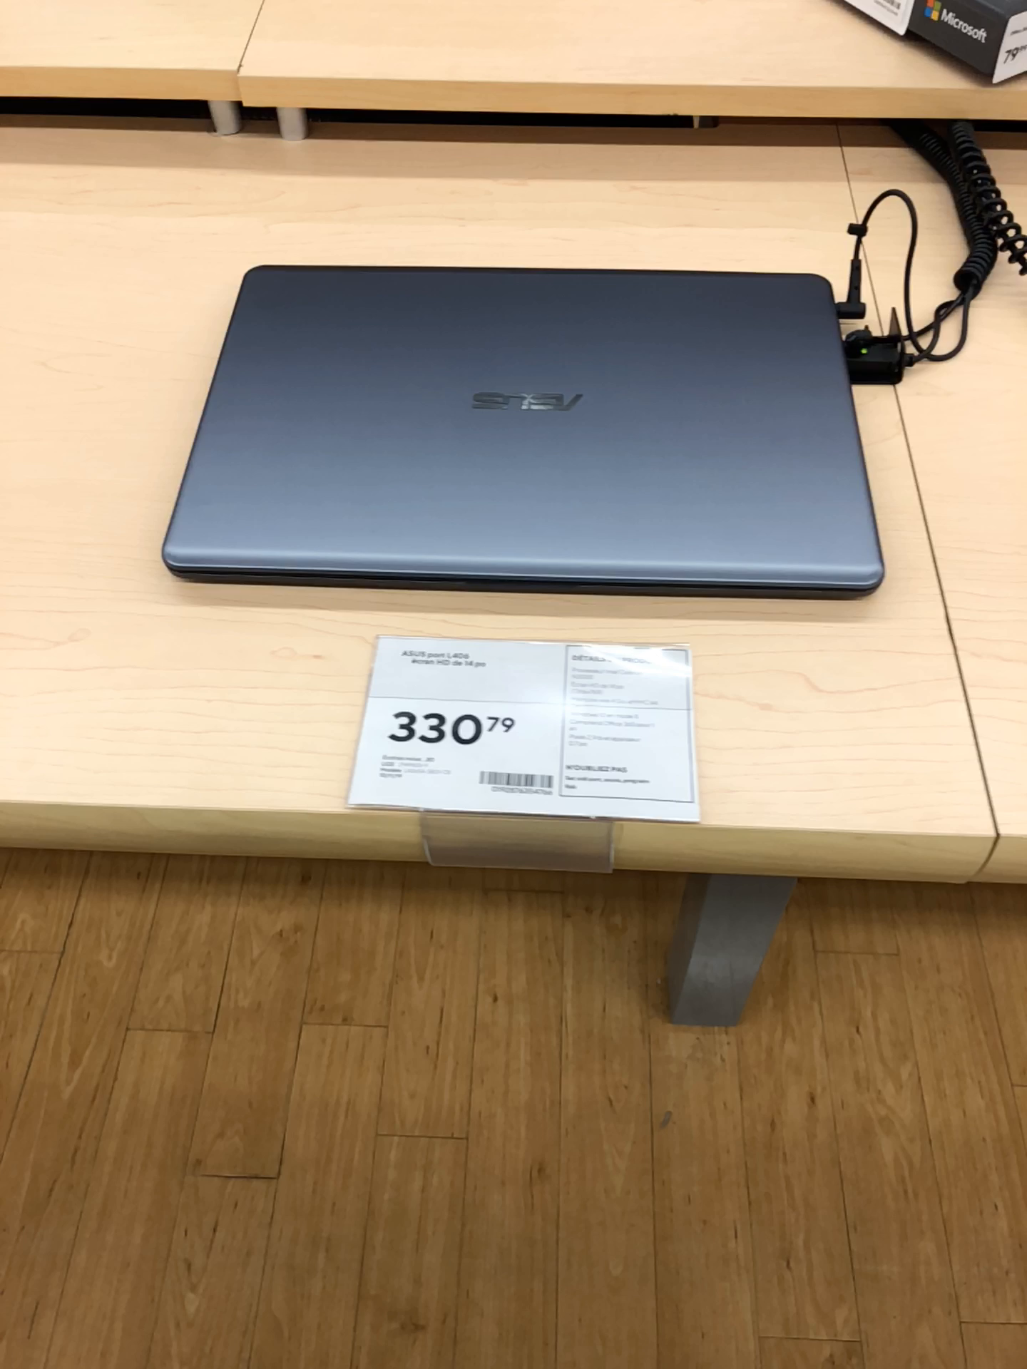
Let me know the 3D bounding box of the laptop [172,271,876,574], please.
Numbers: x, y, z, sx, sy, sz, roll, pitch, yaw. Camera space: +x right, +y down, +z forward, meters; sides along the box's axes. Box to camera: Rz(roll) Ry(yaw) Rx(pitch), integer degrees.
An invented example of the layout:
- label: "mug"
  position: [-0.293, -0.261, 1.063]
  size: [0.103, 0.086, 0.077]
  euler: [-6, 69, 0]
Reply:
- label: "laptop"
  position: [0.007, -0.141, 0.570]
  size: [0.318, 0.001, 0.211]
  euler: [2, 55, 2]
